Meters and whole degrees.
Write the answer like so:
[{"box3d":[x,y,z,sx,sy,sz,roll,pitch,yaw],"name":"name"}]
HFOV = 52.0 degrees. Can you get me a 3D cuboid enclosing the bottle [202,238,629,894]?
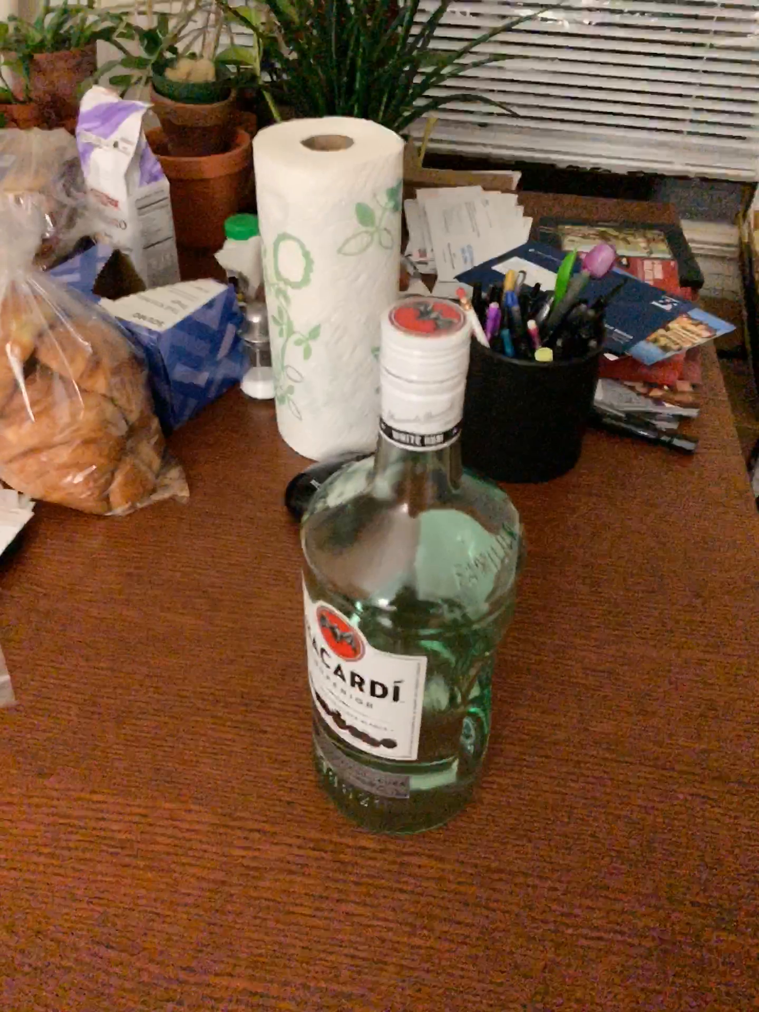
[{"box3d":[0.012,0.051,0.417,0.120,0.328,0.120,1,42,-1],"name":"bottle"}]
